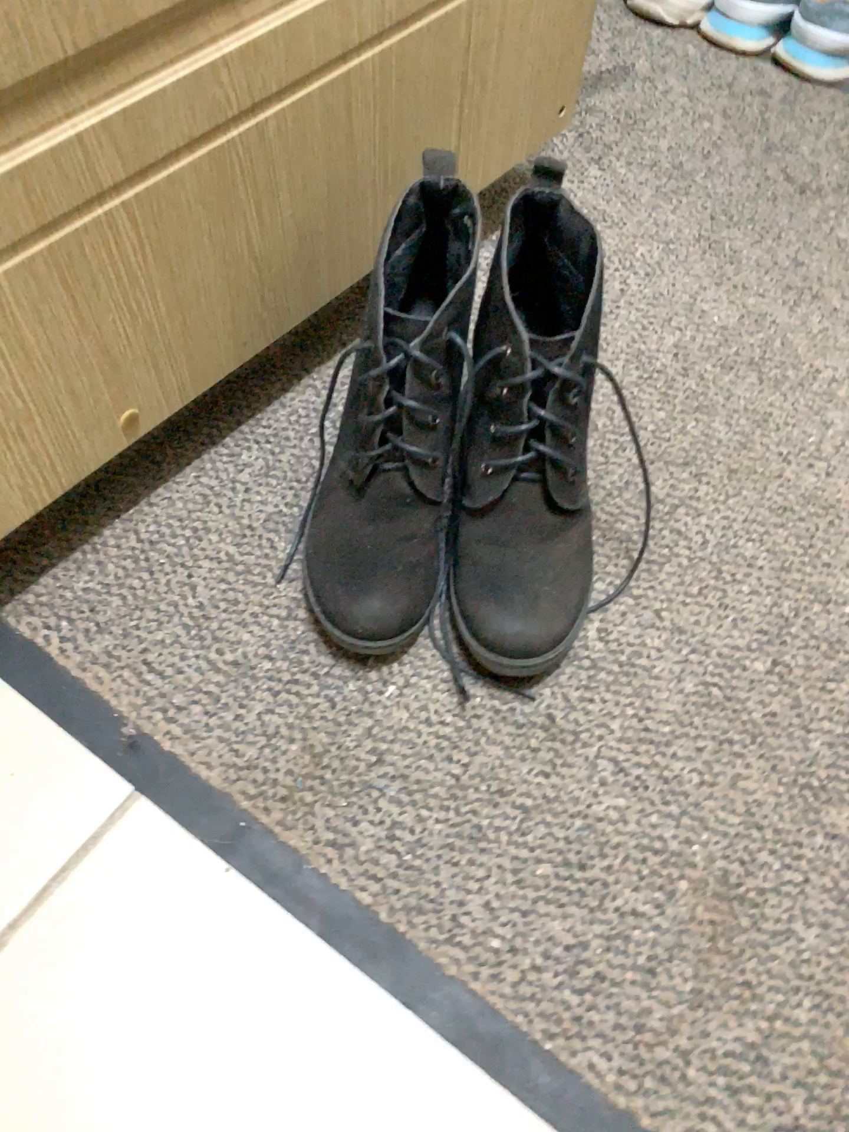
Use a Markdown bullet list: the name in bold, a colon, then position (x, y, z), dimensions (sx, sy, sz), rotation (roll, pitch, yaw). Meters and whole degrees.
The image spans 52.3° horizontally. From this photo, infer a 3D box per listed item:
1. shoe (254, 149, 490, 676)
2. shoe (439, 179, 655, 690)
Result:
- **shoe**: position (-0.021, -0.081, 0.477), dimensions (0.080, 0.160, 0.230), rotation (7, 61, 1)
- **shoe**: position (0.055, -0.070, 0.484), dimensions (0.080, 0.160, 0.230), rotation (2, 61, -2)
